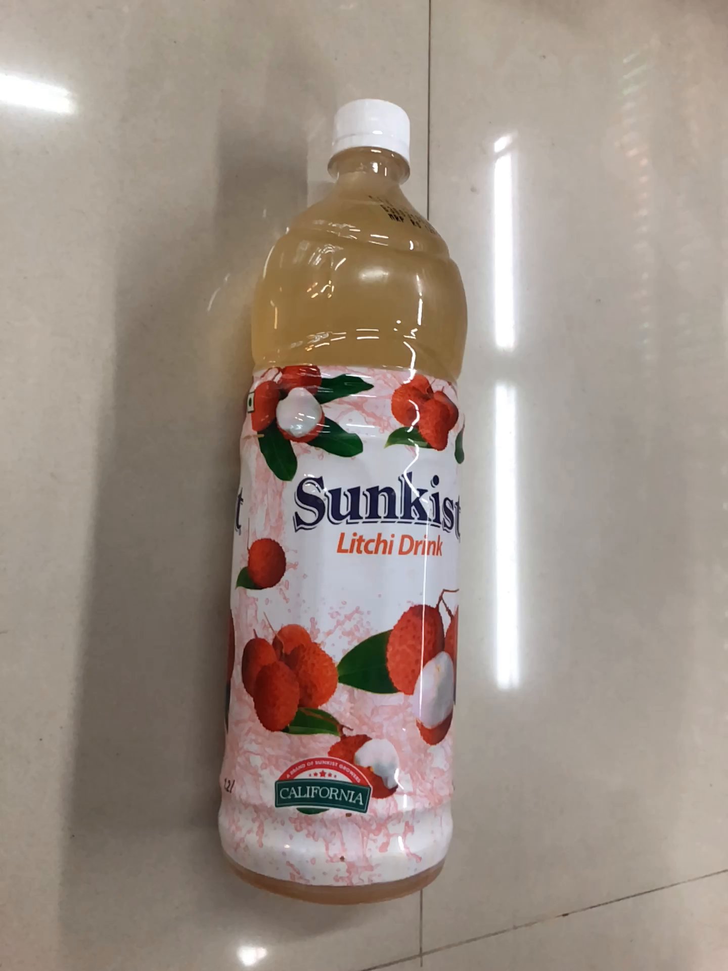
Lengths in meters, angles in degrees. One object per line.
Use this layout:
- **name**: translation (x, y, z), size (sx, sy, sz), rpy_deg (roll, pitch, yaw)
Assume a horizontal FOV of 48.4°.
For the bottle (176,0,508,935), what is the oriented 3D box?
- **bottle**: translation (-0.010, -0.009, 0.311), size (0.090, 0.080, 0.300), rpy_deg (4, 86, -27)
